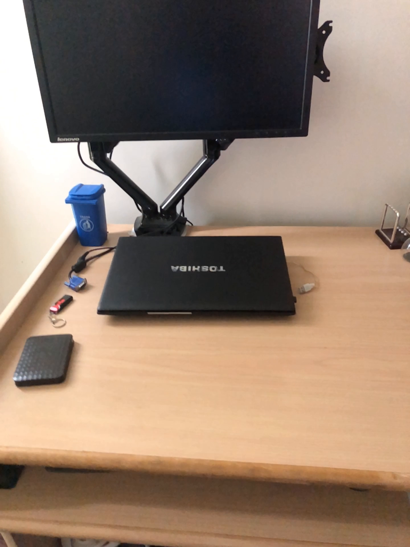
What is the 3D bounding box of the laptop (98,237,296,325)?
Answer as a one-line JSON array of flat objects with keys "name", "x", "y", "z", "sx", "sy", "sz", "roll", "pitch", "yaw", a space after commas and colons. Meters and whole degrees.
[{"name": "laptop", "x": -0.014, "y": 0.006, "z": 0.973, "sx": 0.380, "sy": 0.029, "sz": 0.258, "roll": 0, "pitch": 38, "yaw": 2}]
